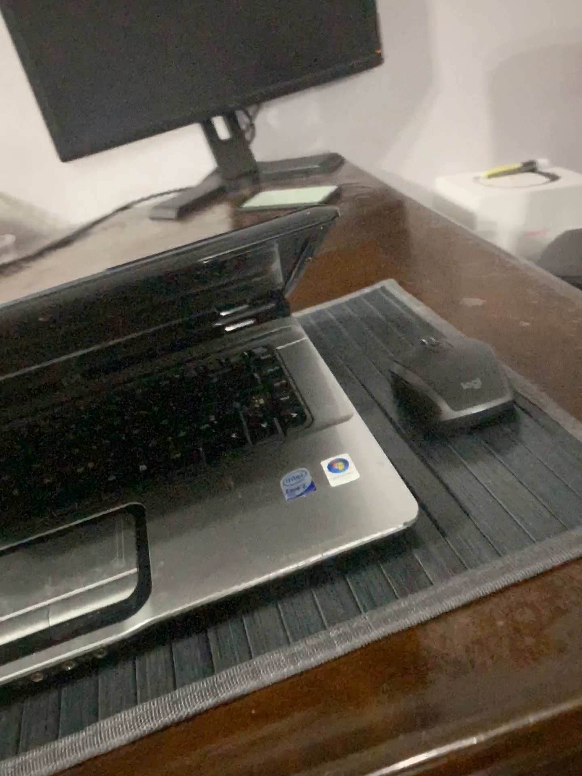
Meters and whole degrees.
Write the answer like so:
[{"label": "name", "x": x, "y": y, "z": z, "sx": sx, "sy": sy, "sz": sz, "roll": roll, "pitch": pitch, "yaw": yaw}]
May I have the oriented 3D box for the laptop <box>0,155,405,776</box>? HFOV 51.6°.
[{"label": "laptop", "x": -0.154, "y": 0.002, "z": 0.317, "sx": 0.342, "sy": 0.108, "sz": 0.245, "roll": -19, "pitch": 34, "yaw": -8}]
